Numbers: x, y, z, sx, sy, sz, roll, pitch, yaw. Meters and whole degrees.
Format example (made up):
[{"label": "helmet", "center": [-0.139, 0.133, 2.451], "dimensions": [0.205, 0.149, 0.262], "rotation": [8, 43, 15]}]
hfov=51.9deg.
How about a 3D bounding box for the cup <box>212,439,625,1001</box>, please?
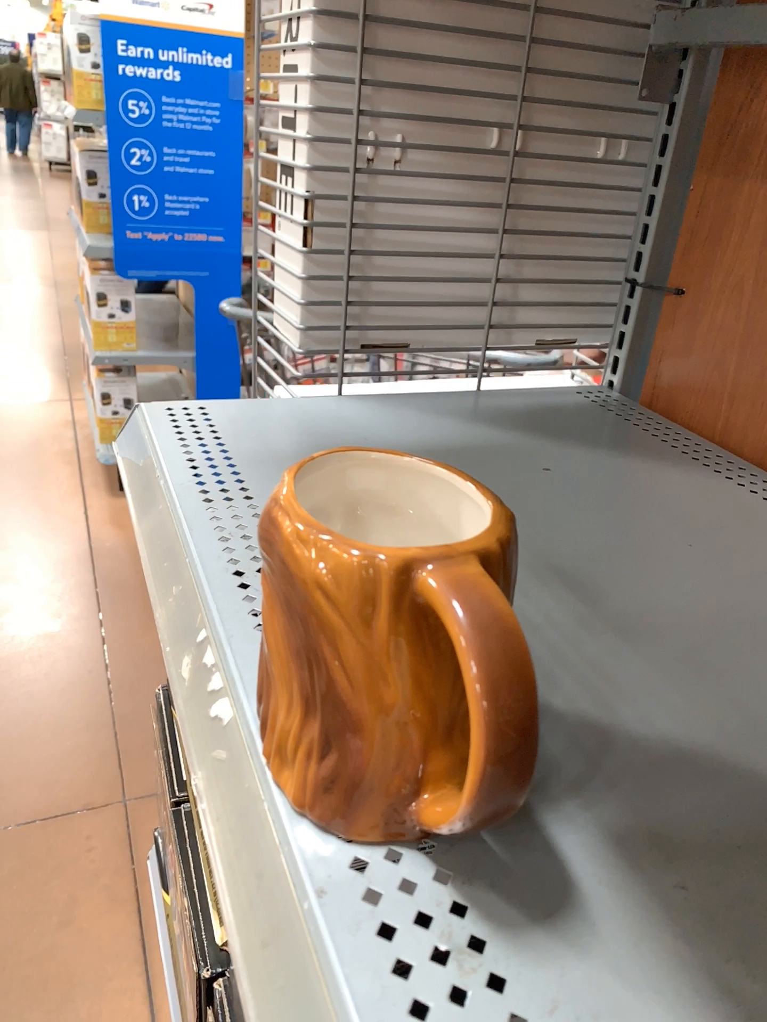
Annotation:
[{"label": "cup", "center": [-0.004, 0.064, 0.297], "dimensions": [0.097, 0.138, 0.132], "rotation": [-5, 28, -20]}]
